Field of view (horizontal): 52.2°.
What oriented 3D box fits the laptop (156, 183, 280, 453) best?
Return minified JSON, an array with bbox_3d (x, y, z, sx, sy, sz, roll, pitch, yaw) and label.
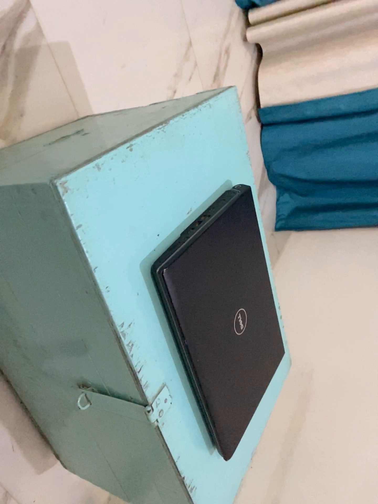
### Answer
[{"bbox_3d":[0.079,0.113,0.679,0.270,0.004,0.385,-44,127,-43],"label":"laptop"}]
